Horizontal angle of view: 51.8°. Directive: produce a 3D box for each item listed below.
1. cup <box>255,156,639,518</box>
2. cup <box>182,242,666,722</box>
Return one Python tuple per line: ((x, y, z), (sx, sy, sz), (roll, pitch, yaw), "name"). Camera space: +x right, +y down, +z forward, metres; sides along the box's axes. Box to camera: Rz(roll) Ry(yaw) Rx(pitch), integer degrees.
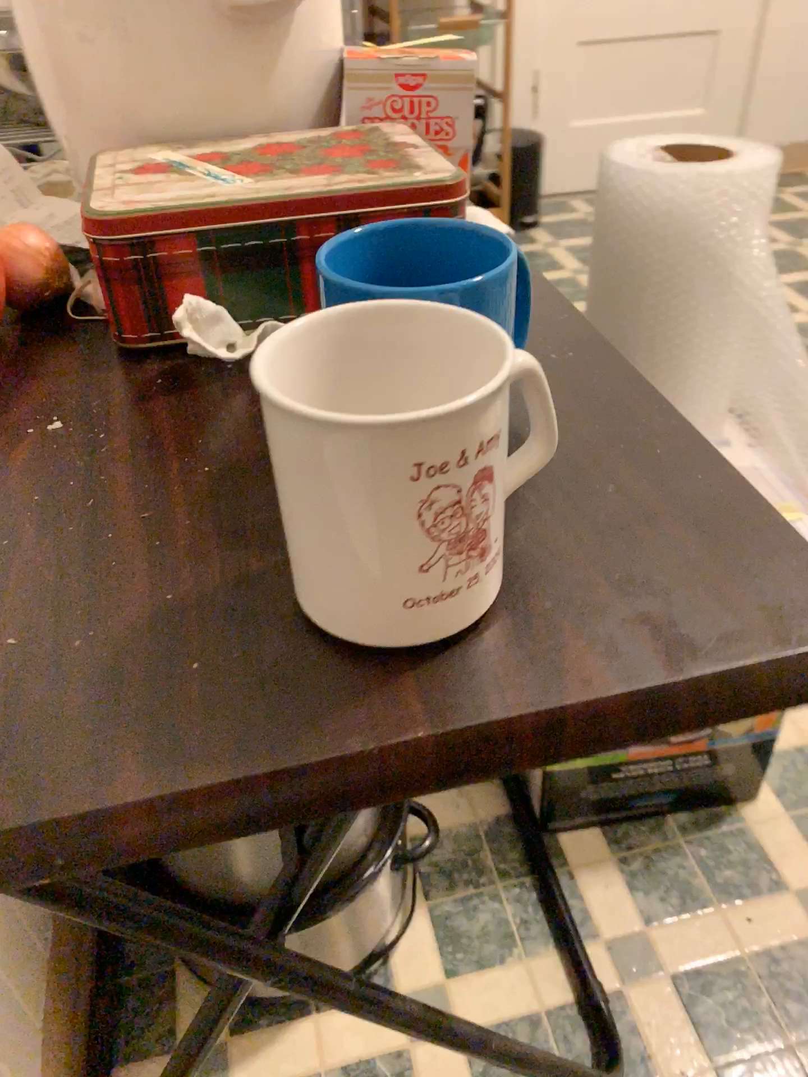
((0.023, -0.099, 0.379), (0.090, 0.099, 0.140), (29, 48, 34), "cup")
((0.011, -0.029, 0.297), (0.130, 0.099, 0.090), (-33, 47, -32), "cup")
